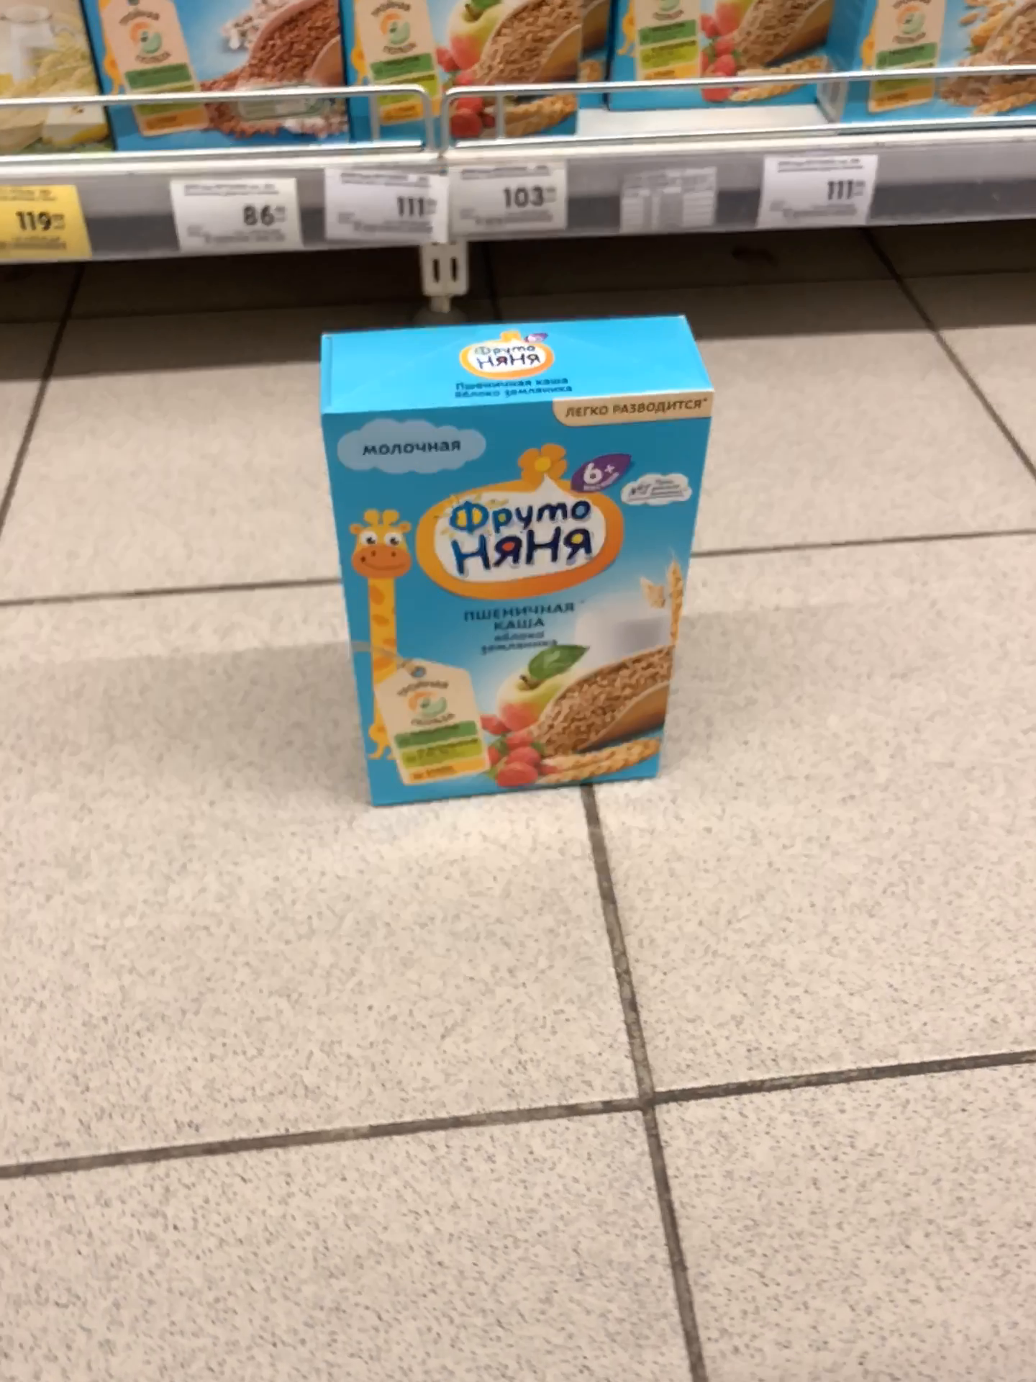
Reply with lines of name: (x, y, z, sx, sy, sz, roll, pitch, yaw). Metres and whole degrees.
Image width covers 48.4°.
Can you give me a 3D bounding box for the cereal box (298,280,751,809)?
cereal box: (-0.001, -0.046, 0.446, 0.140, 0.199, 0.060, -5, 46, -5)
